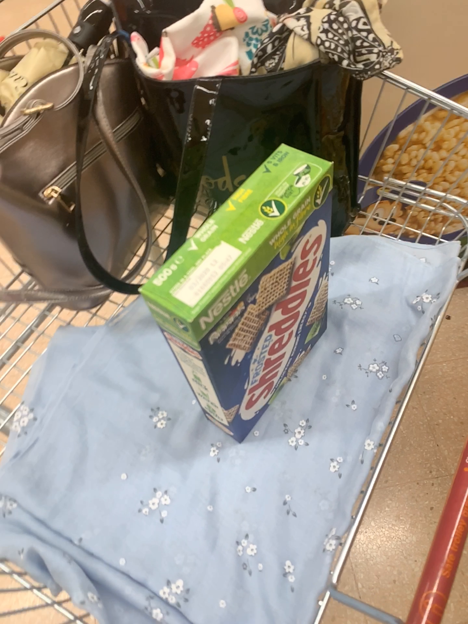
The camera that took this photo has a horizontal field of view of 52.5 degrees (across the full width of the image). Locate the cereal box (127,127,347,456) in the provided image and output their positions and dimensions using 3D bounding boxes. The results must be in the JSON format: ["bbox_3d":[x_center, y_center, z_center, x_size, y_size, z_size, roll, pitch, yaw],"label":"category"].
[{"bbox_3d":[0.022,0.003,0.479,0.060,0.288,0.201,30,64,23],"label":"cereal box"}]
